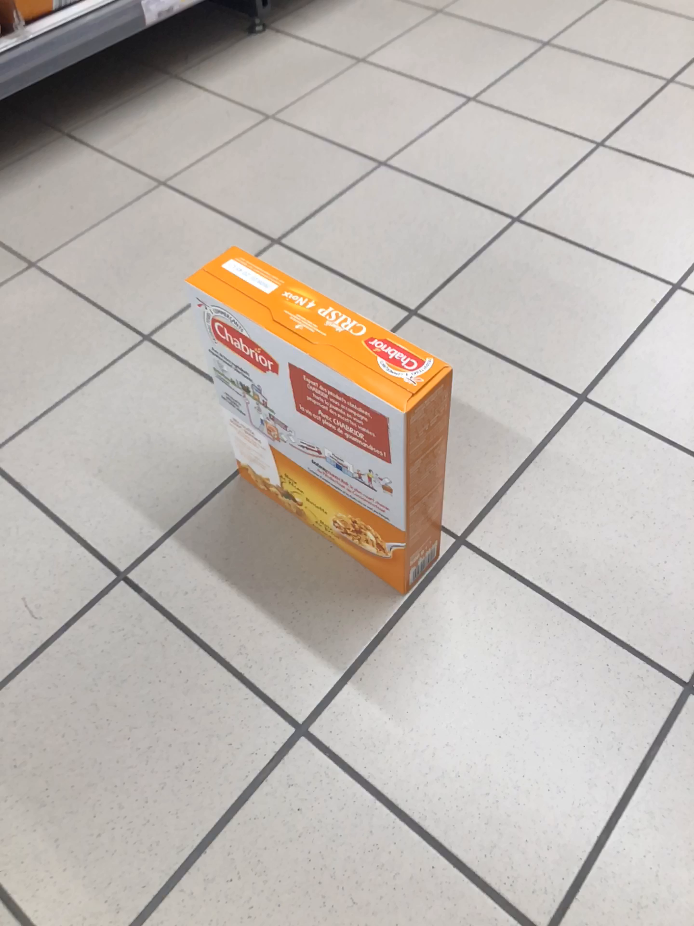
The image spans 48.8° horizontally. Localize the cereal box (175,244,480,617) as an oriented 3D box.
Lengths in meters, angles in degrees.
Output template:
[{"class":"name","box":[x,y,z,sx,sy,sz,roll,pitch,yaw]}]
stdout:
[{"class":"cereal box","box":[-0.013,-0.017,0.560,0.200,0.219,0.060,34,61,26]}]
